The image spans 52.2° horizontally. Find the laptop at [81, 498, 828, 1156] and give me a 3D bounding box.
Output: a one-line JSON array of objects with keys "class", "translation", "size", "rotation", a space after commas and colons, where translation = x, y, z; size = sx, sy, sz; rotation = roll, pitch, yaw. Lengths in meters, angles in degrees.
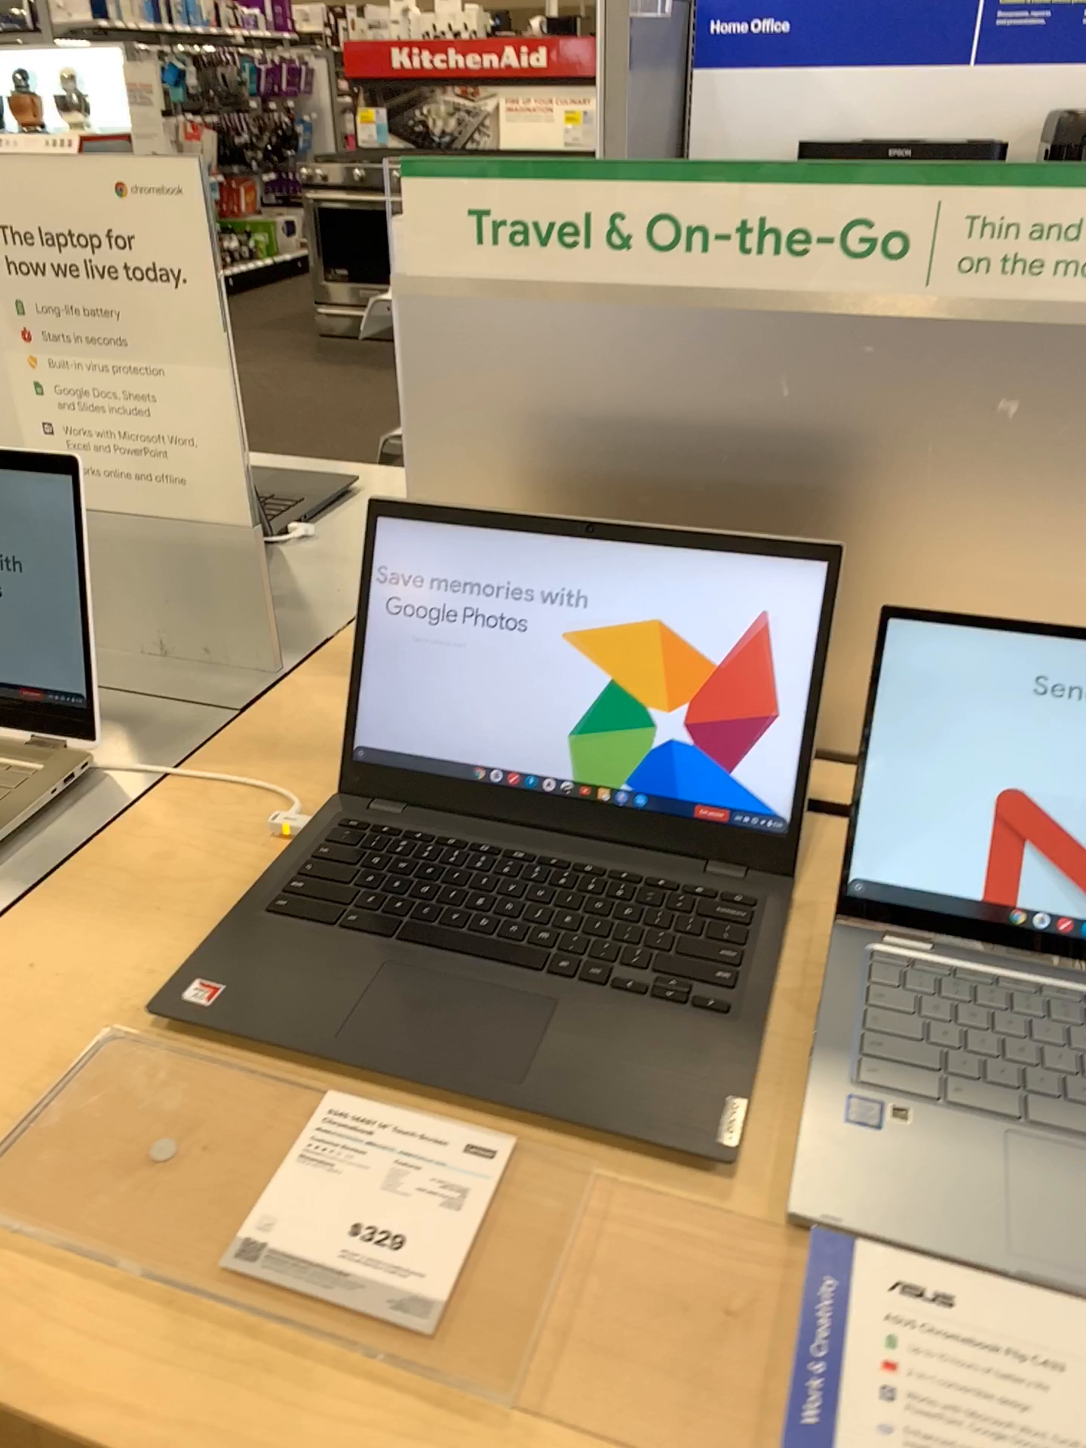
[{"class": "laptop", "translation": [-0.020, 0.023, 0.639], "size": [0.310, 0.188, 0.300], "rotation": [9, 31, 17]}]
